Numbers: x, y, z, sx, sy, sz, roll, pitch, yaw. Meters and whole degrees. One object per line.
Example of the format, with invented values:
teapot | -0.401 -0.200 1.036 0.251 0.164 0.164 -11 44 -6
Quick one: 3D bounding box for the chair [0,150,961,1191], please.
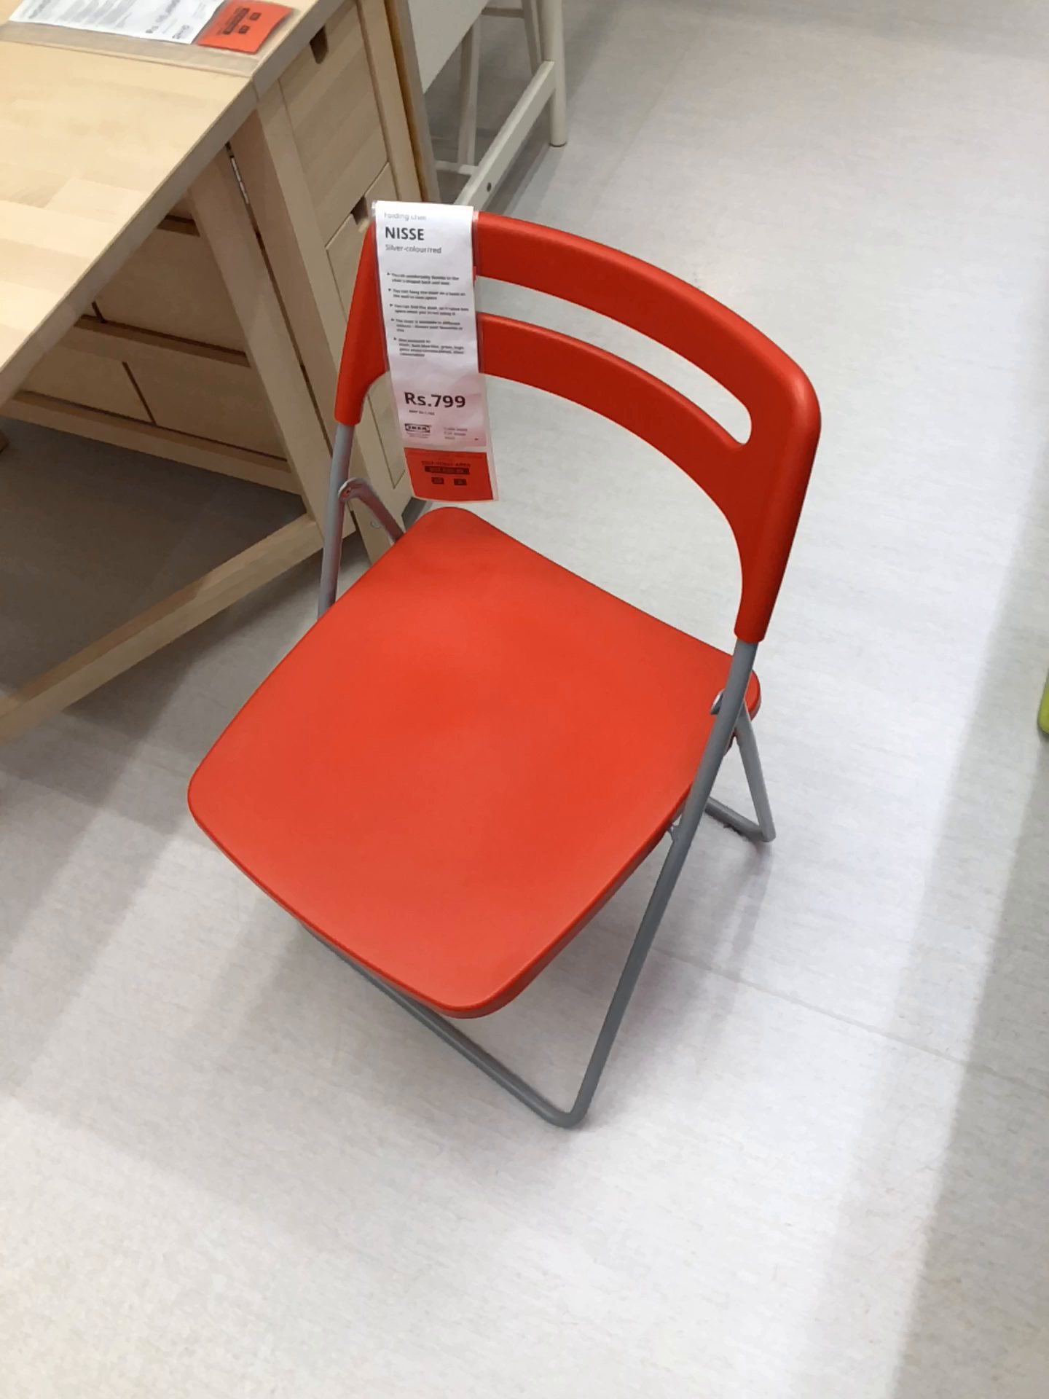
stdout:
chair | -0.024 0.012 0.974 0.451 0.607 0.491 31 66 22
